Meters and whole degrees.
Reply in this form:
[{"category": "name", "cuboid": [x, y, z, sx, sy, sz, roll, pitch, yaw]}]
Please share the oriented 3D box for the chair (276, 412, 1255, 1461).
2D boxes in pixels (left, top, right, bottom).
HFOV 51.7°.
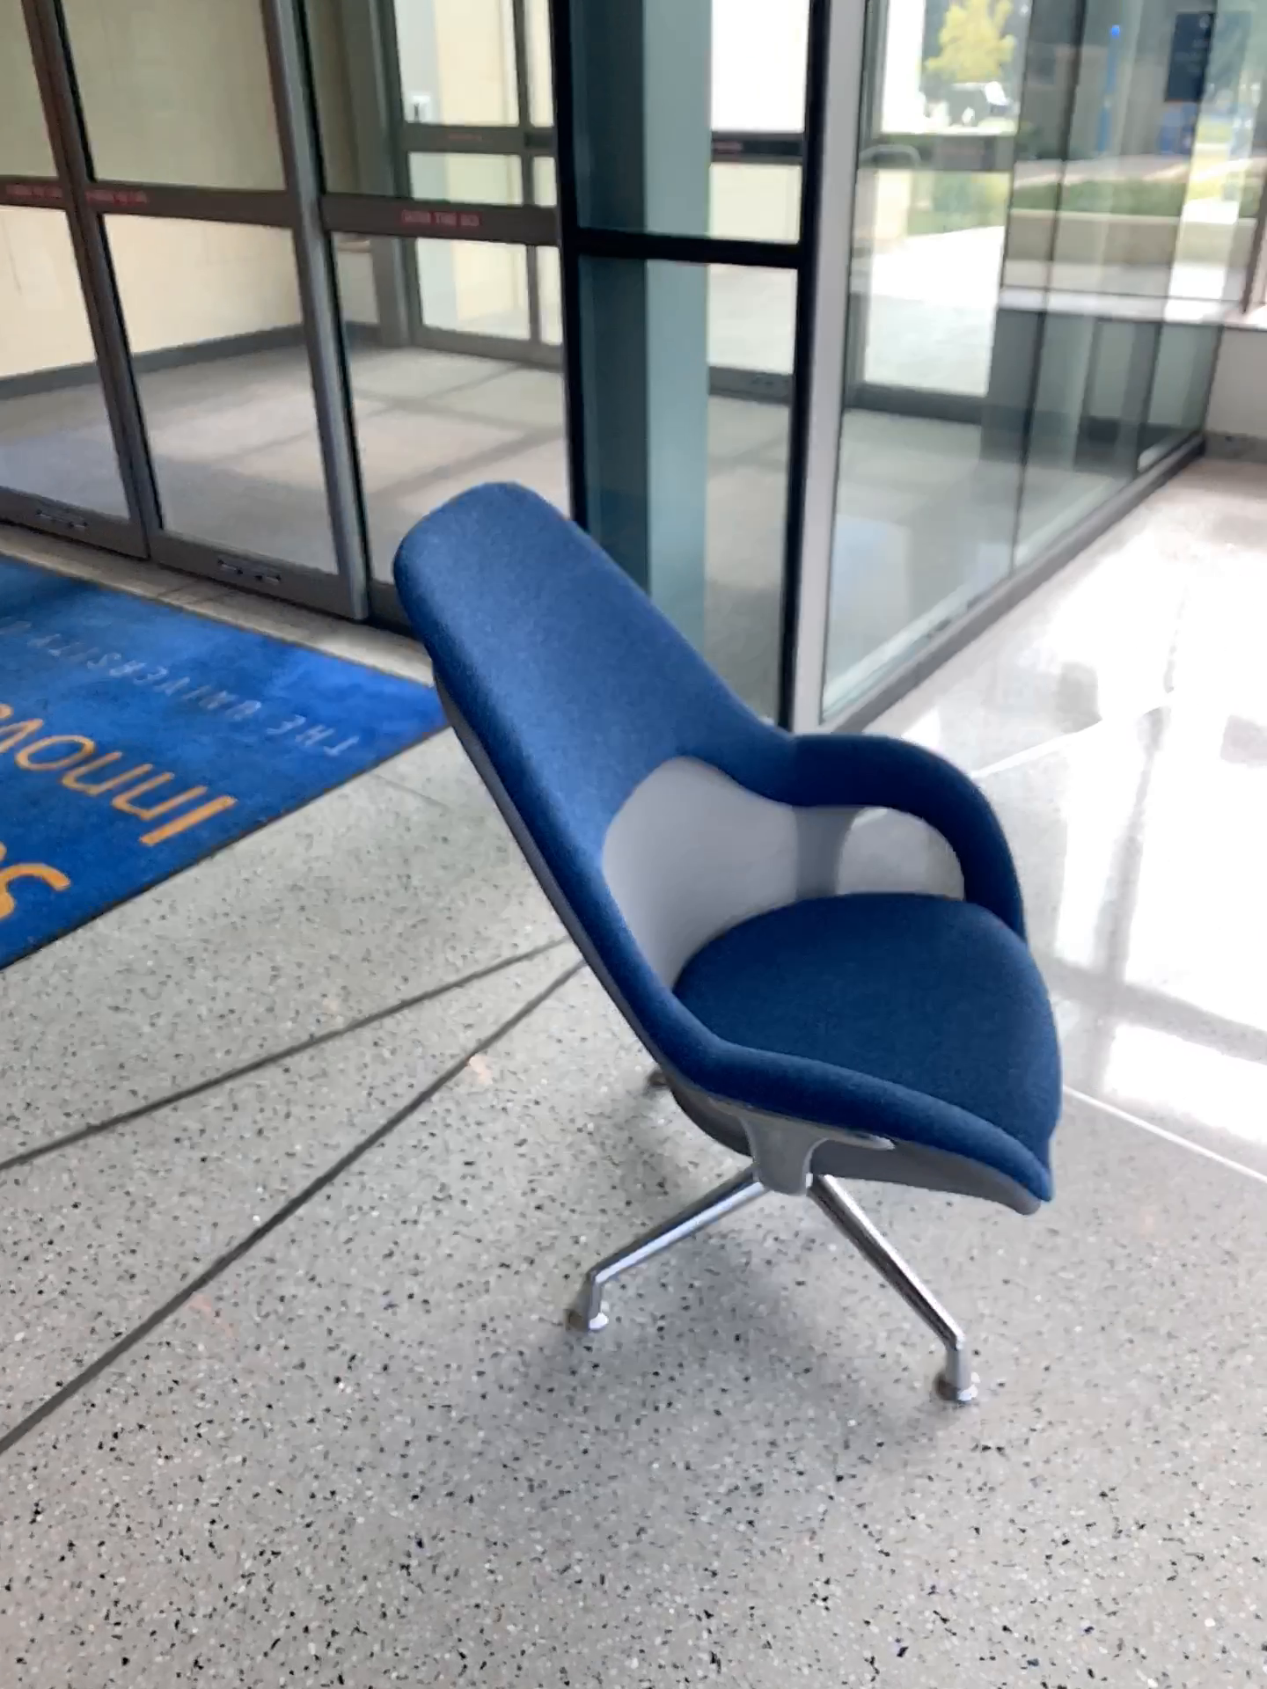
[{"category": "chair", "cuboid": [0.163, 0.052, 1.583, 0.784, 0.933, 0.730, 6, 31, 11]}]
